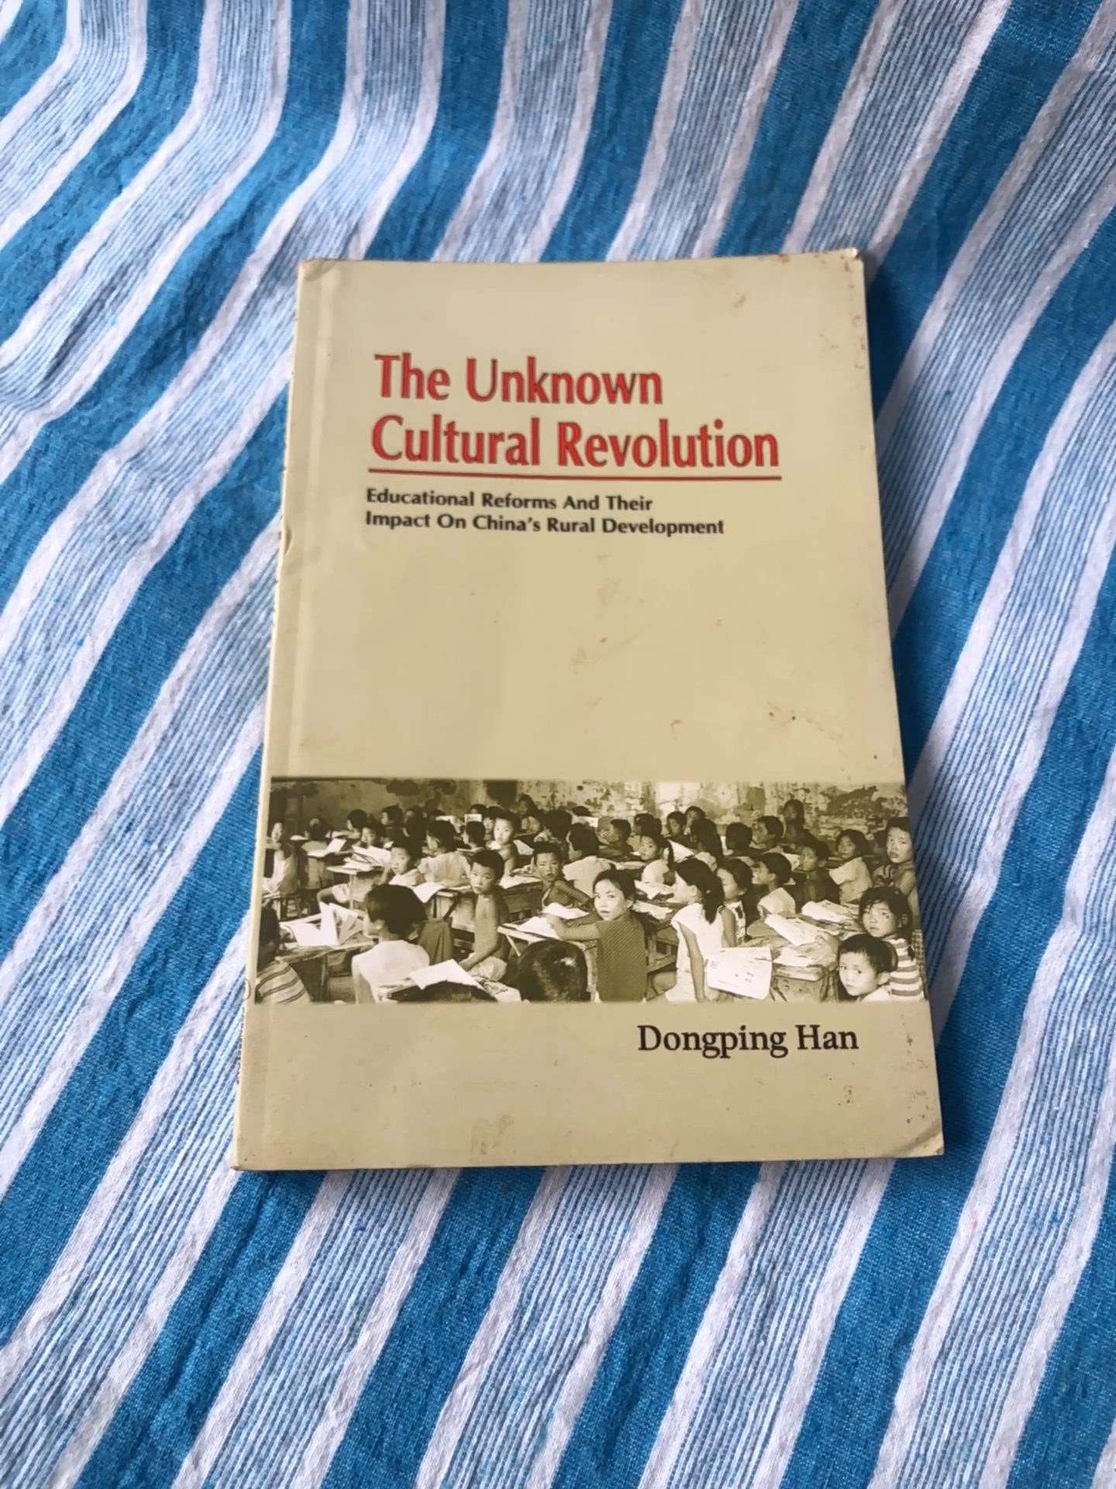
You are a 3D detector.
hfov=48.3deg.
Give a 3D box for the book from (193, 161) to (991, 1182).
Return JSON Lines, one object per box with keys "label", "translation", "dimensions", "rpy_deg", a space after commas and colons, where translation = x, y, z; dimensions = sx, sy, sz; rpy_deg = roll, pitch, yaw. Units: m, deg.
{"label": "book", "translation": [0.006, -0.028, 0.270], "dimensions": [0.140, 0.020, 0.230], "rpy_deg": [-1, 68, 4]}
